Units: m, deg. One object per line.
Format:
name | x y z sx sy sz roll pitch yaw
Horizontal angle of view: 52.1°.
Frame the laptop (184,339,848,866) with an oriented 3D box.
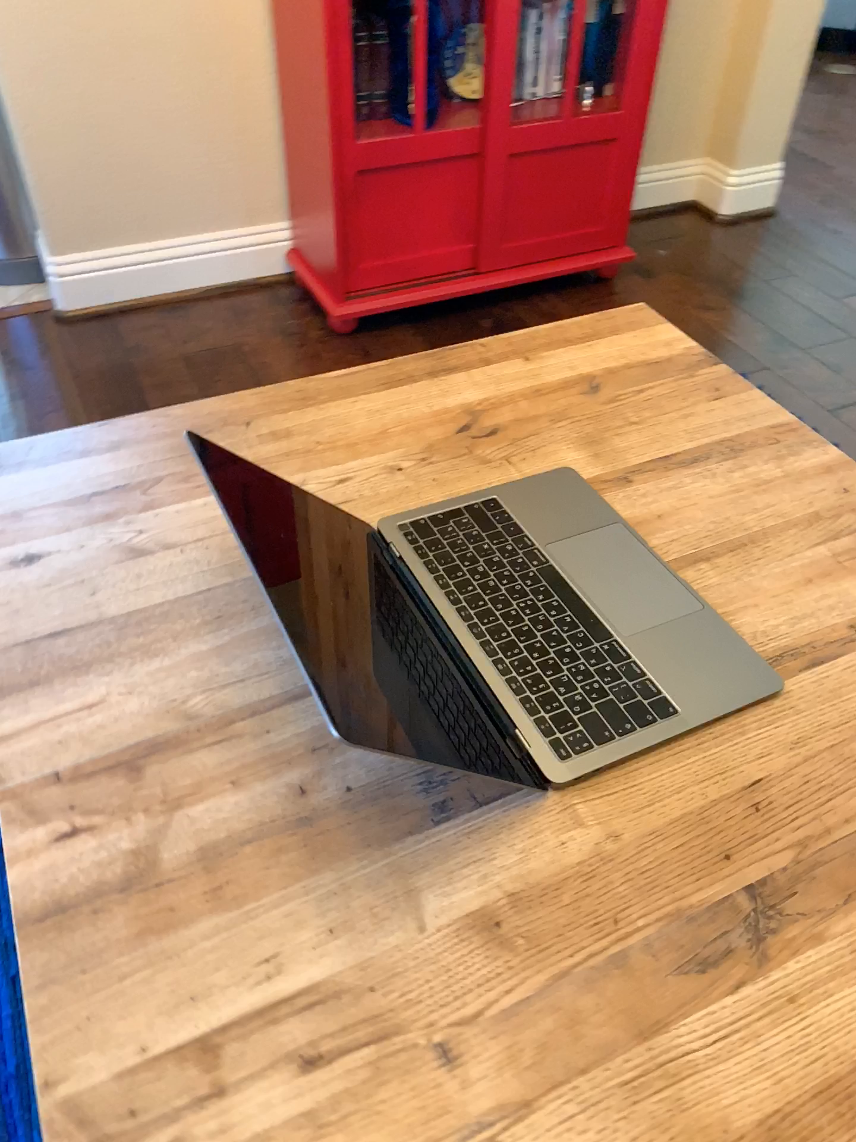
laptop | 0.045 -0.008 0.648 0.353 0.141 0.292 -17 47 -19
